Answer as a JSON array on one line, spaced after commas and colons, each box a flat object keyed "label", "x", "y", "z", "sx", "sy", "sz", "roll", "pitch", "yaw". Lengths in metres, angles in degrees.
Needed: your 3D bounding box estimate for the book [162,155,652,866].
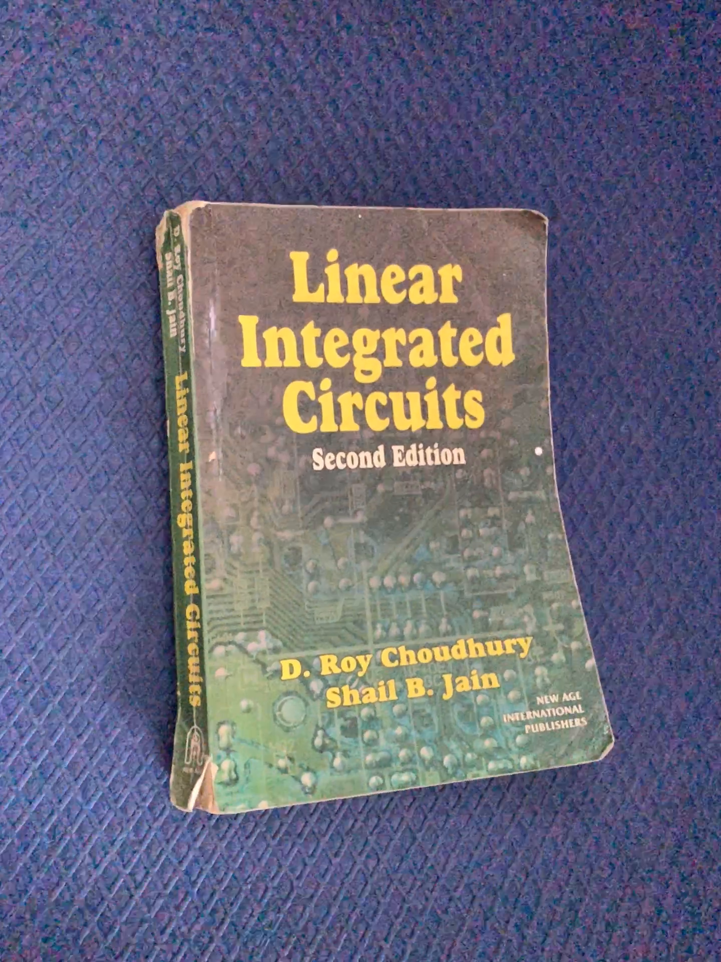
[{"label": "book", "x": 0.017, "y": 0.003, "z": 0.326, "sx": 0.190, "sy": 0.040, "sz": 0.270, "roll": -2, "pitch": 84, "yaw": -14}]
